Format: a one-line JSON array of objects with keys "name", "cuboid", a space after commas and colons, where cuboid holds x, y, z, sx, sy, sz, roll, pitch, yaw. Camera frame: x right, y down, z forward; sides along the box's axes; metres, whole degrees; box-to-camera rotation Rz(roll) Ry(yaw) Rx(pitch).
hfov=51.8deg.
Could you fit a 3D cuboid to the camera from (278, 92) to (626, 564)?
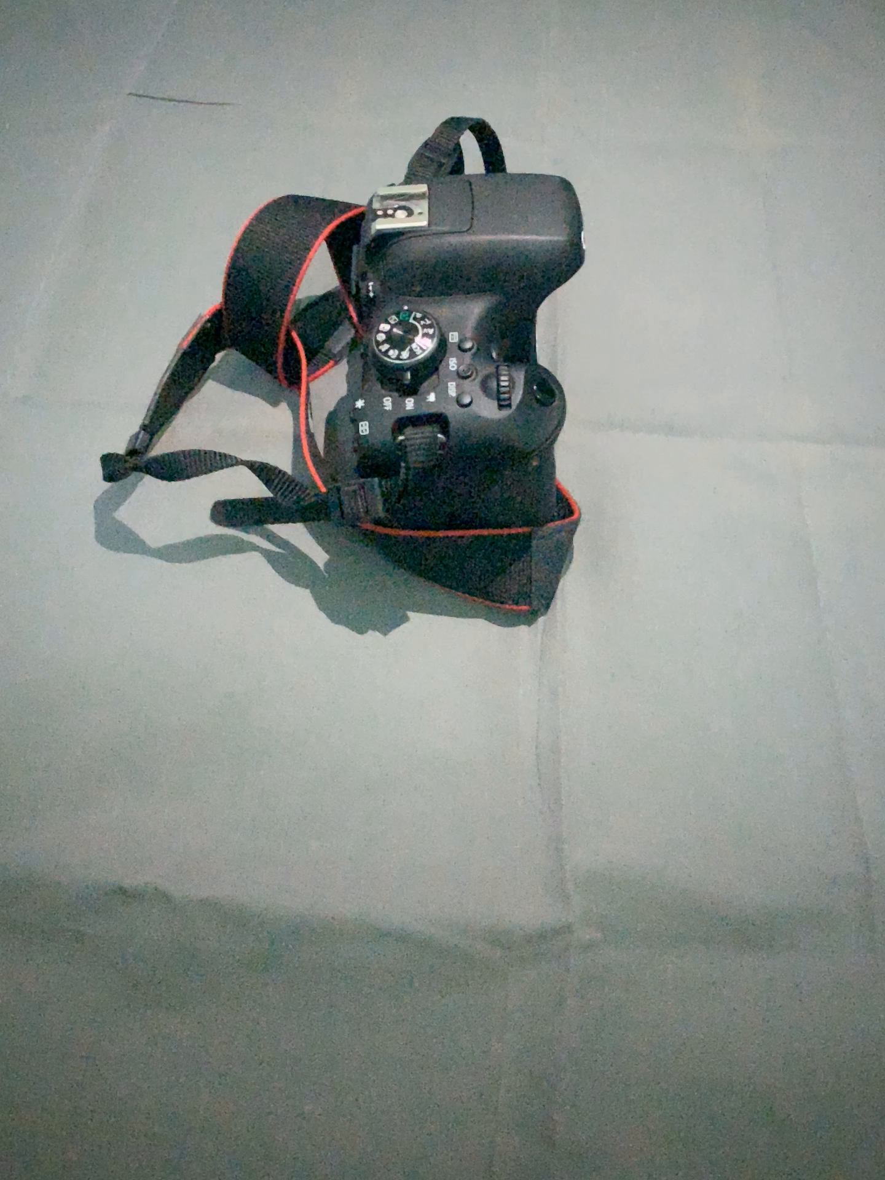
[{"name": "camera", "cuboid": [0.001, -0.089, 0.309, 0.090, 0.088, 0.133, 1, 55, -2]}]
